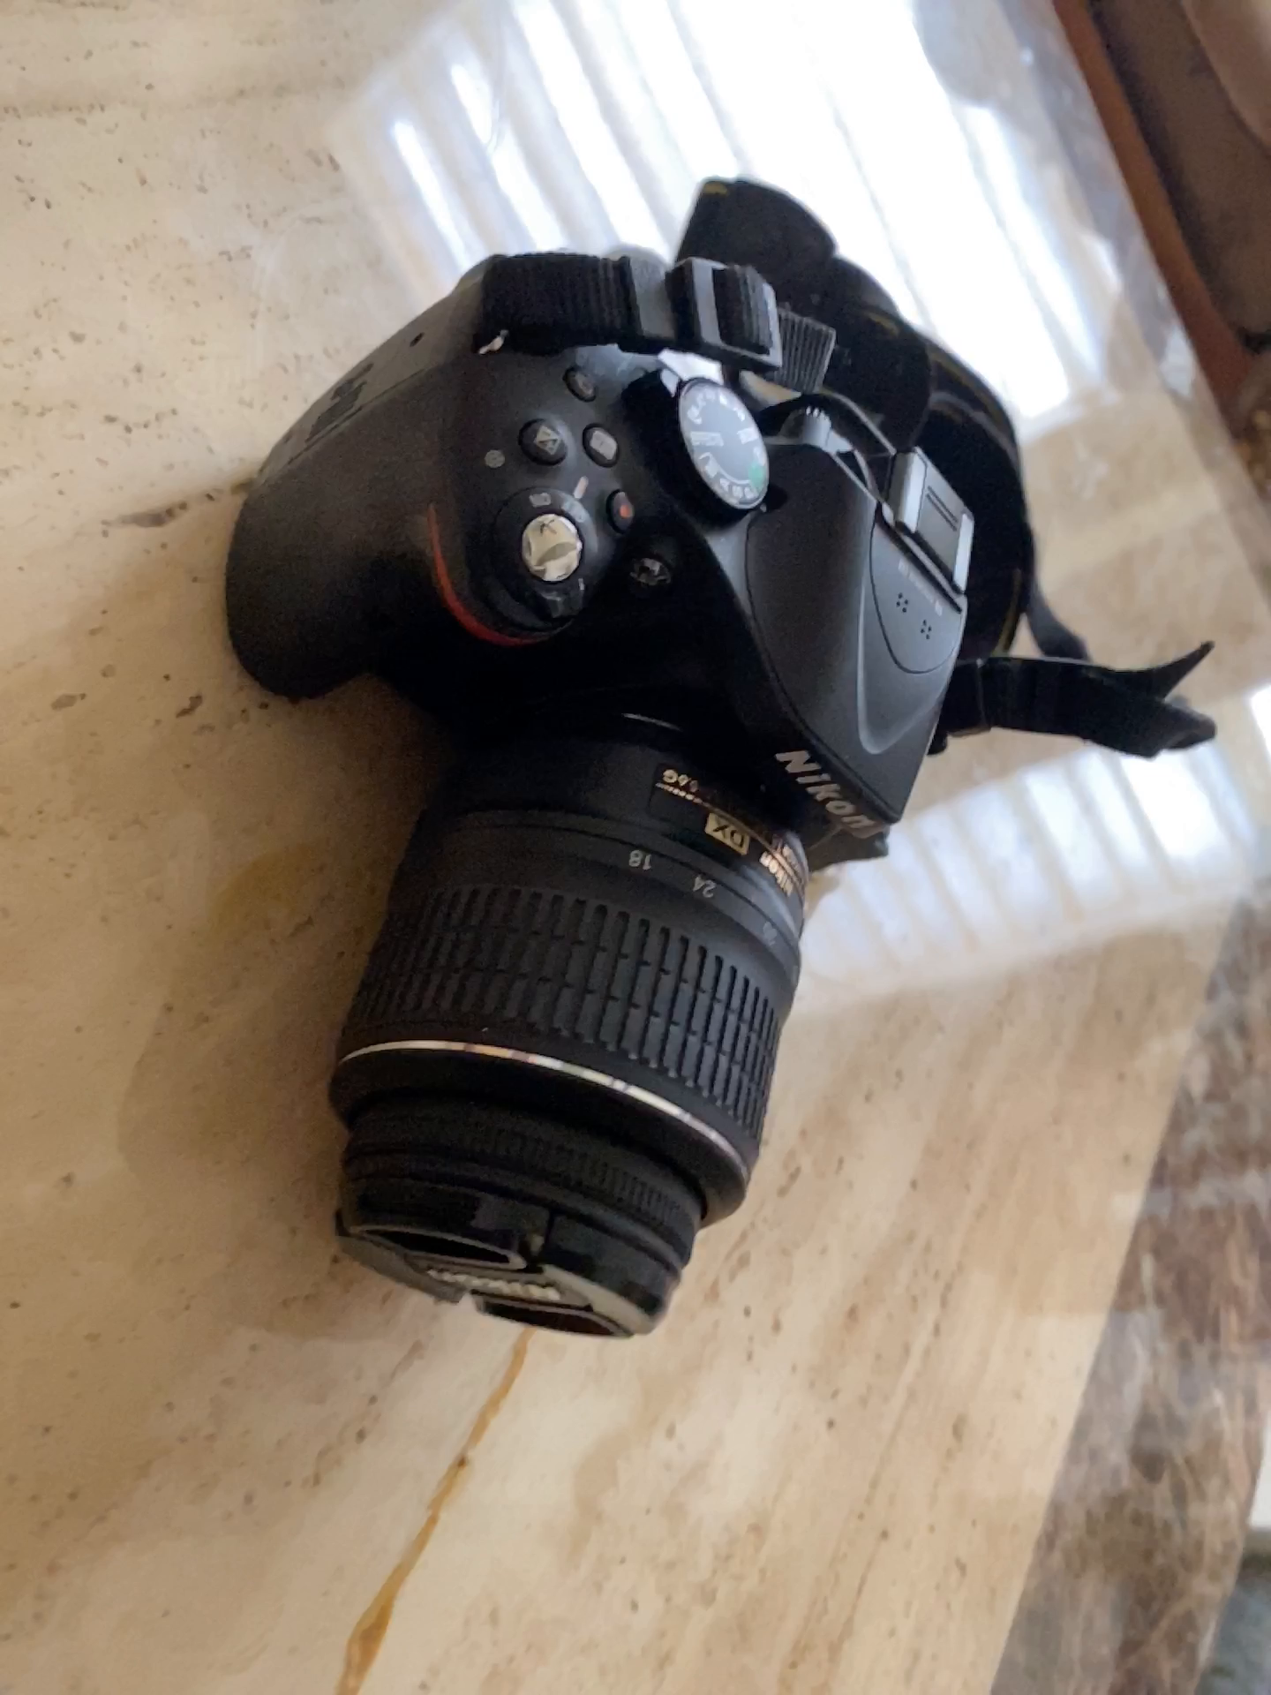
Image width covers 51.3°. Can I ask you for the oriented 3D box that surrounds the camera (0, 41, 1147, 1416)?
[{"bbox_3d":[0.005,-0.006,0.232,0.152,0.099,0.160,37,50,-33],"label":"camera"}]
